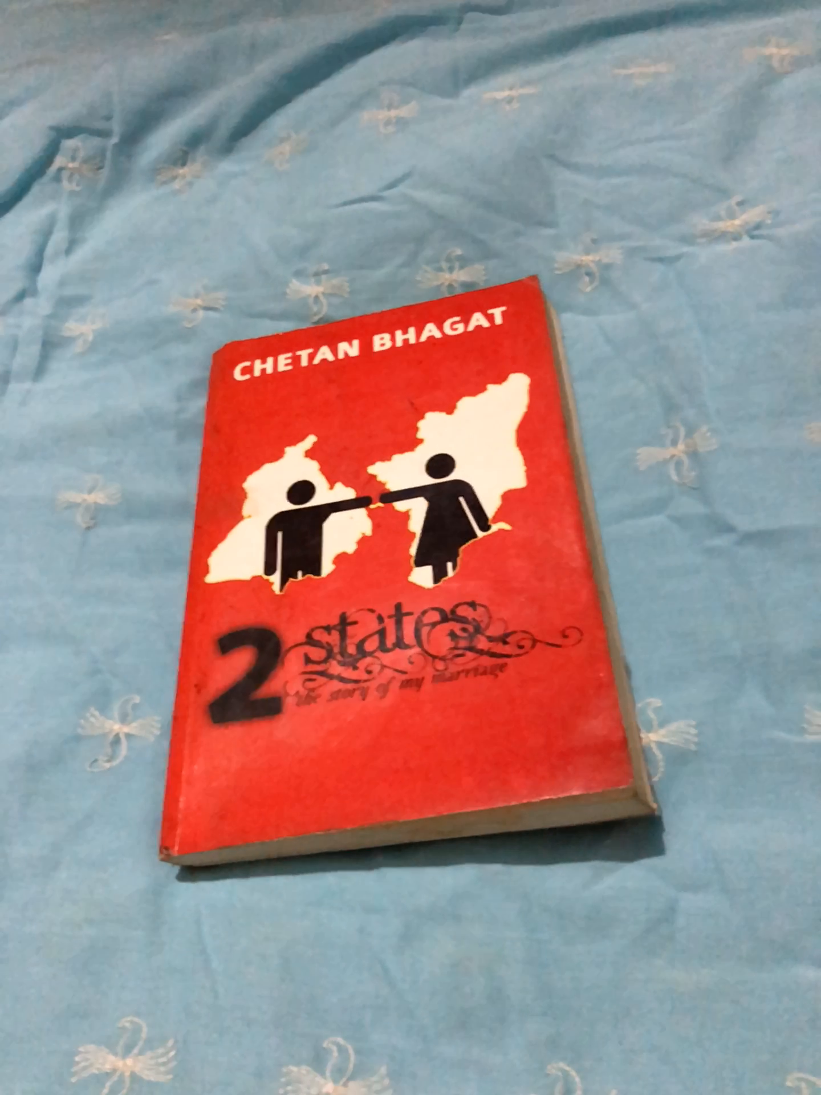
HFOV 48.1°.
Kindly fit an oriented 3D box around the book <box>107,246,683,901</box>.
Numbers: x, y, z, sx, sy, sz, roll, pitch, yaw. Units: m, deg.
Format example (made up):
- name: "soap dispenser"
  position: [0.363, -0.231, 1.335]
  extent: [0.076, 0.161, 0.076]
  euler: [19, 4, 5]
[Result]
- name: "book"
  position: [-0.010, -0.005, 0.288]
  extent: [0.140, 0.030, 0.200]
  euler: [-10, 55, 7]
